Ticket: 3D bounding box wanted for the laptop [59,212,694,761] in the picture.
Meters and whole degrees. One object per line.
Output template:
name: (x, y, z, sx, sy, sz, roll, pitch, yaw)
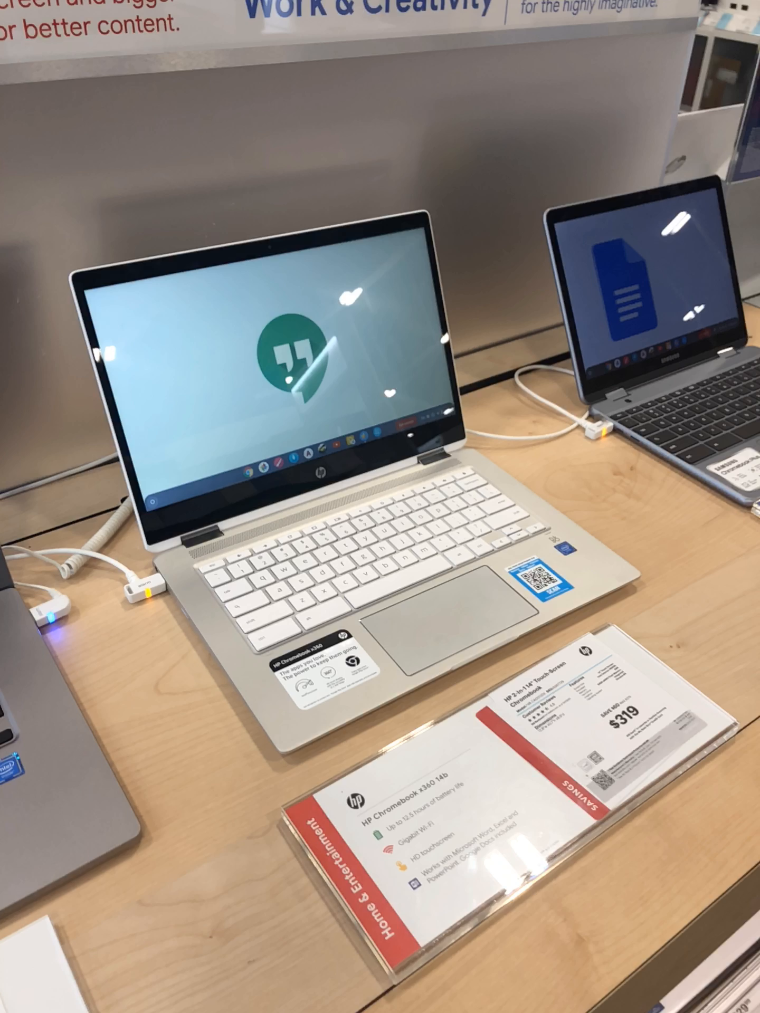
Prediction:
laptop: (-0.014, -0.055, 0.646, 0.324, 0.205, 0.318, -20, 42, -29)
